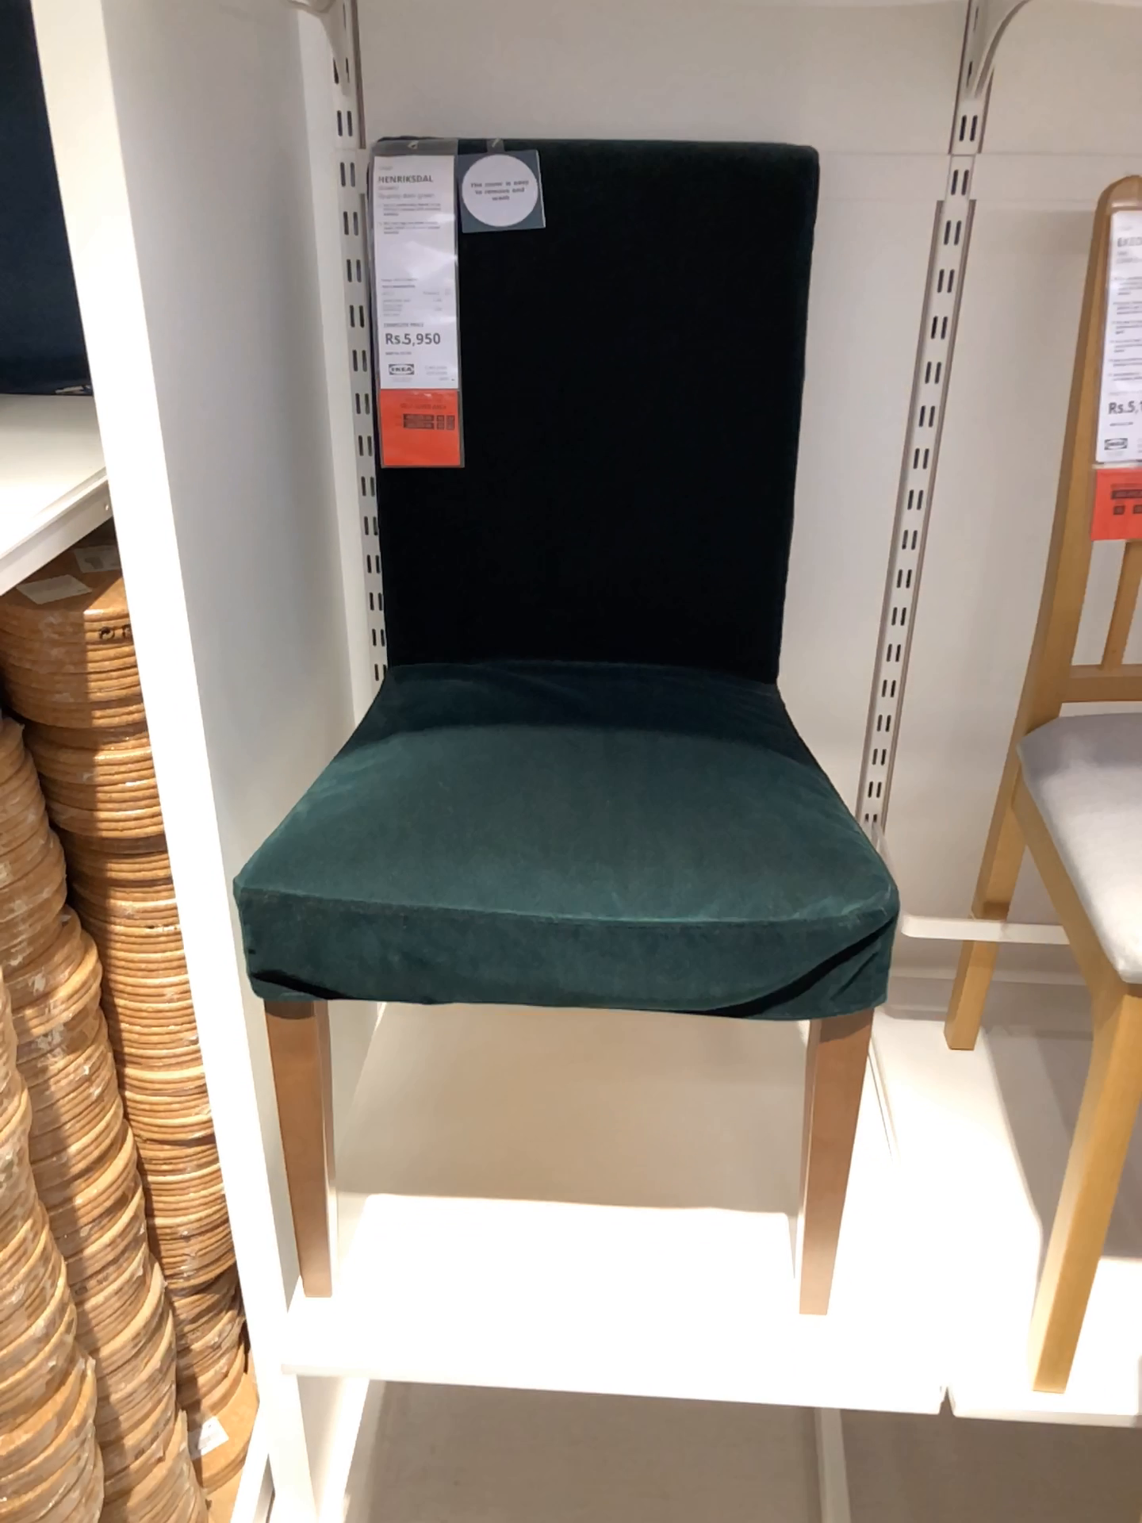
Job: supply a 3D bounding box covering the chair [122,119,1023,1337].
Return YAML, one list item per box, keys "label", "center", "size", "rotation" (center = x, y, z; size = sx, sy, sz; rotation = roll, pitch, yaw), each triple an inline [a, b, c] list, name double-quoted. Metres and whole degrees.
- label: "chair"
  center: [0.002, -0.040, 1.090]
  size: [0.470, 0.914, 0.513]
  rotation: [1, 27, 1]
